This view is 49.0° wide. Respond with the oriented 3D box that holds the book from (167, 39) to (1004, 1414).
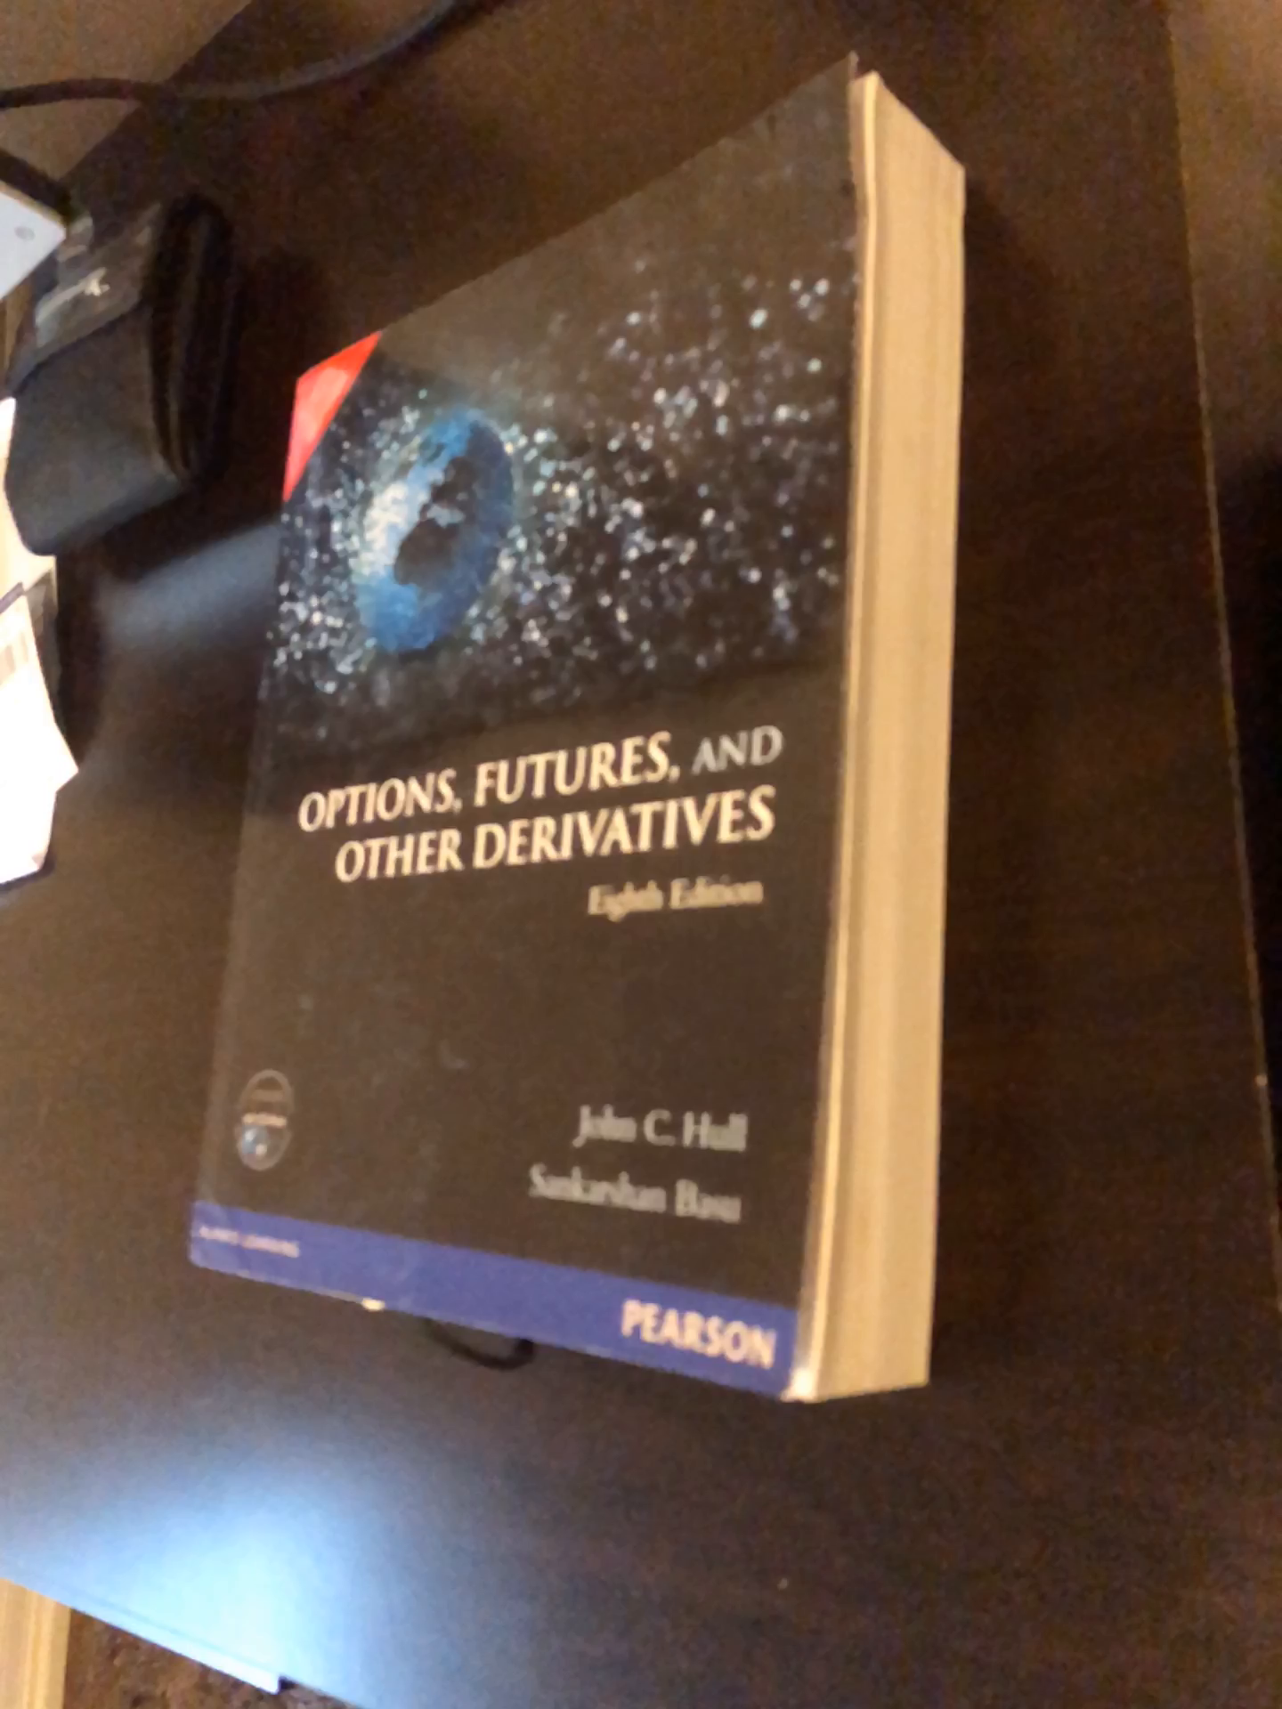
[{"bbox_3d":[-0.021,-0.023,0.344,0.208,0.050,0.261,-6,75,41],"label":"book"}]
